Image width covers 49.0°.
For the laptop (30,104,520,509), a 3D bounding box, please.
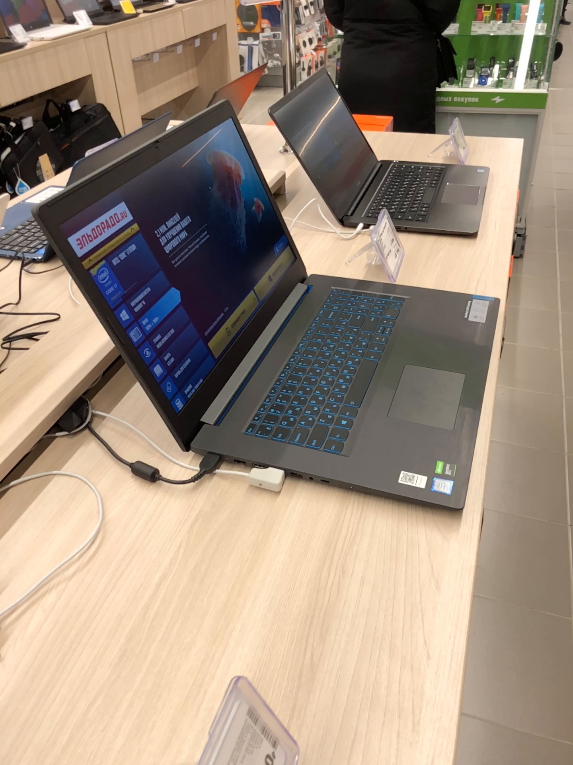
[{"bbox_3d":[0.031,-0.129,0.703,0.380,0.242,0.397,10,37,17],"label":"laptop"}]
